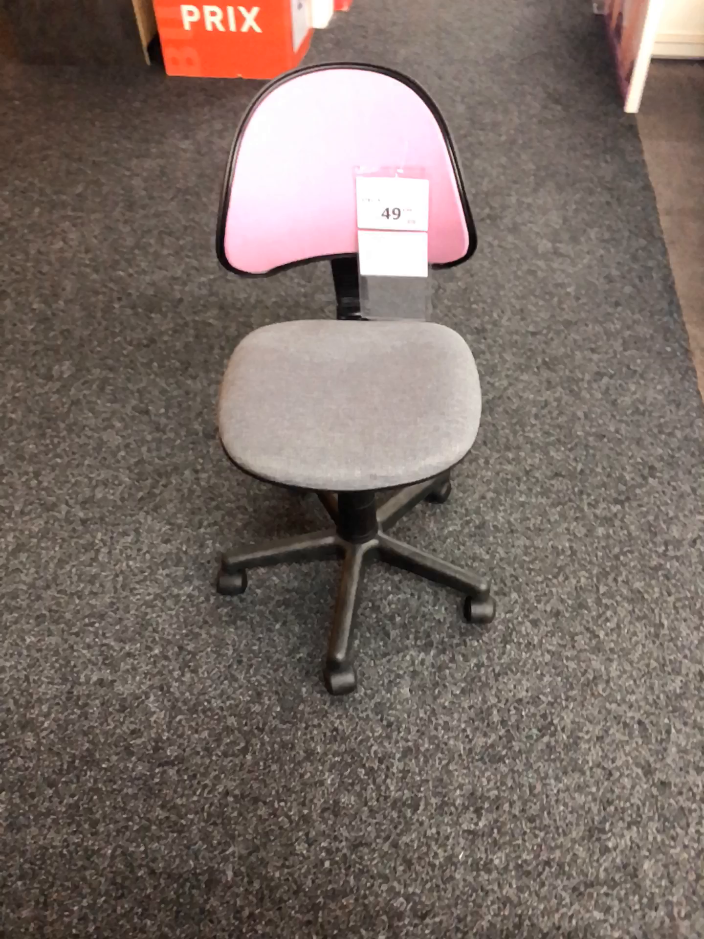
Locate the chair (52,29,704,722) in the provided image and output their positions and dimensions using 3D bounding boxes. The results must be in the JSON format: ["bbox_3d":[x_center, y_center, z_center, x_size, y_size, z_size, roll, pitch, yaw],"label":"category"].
[{"bbox_3d":[0.007,-0.119,1.176,0.600,0.776,0.603,-7,47,-5],"label":"chair"}]
